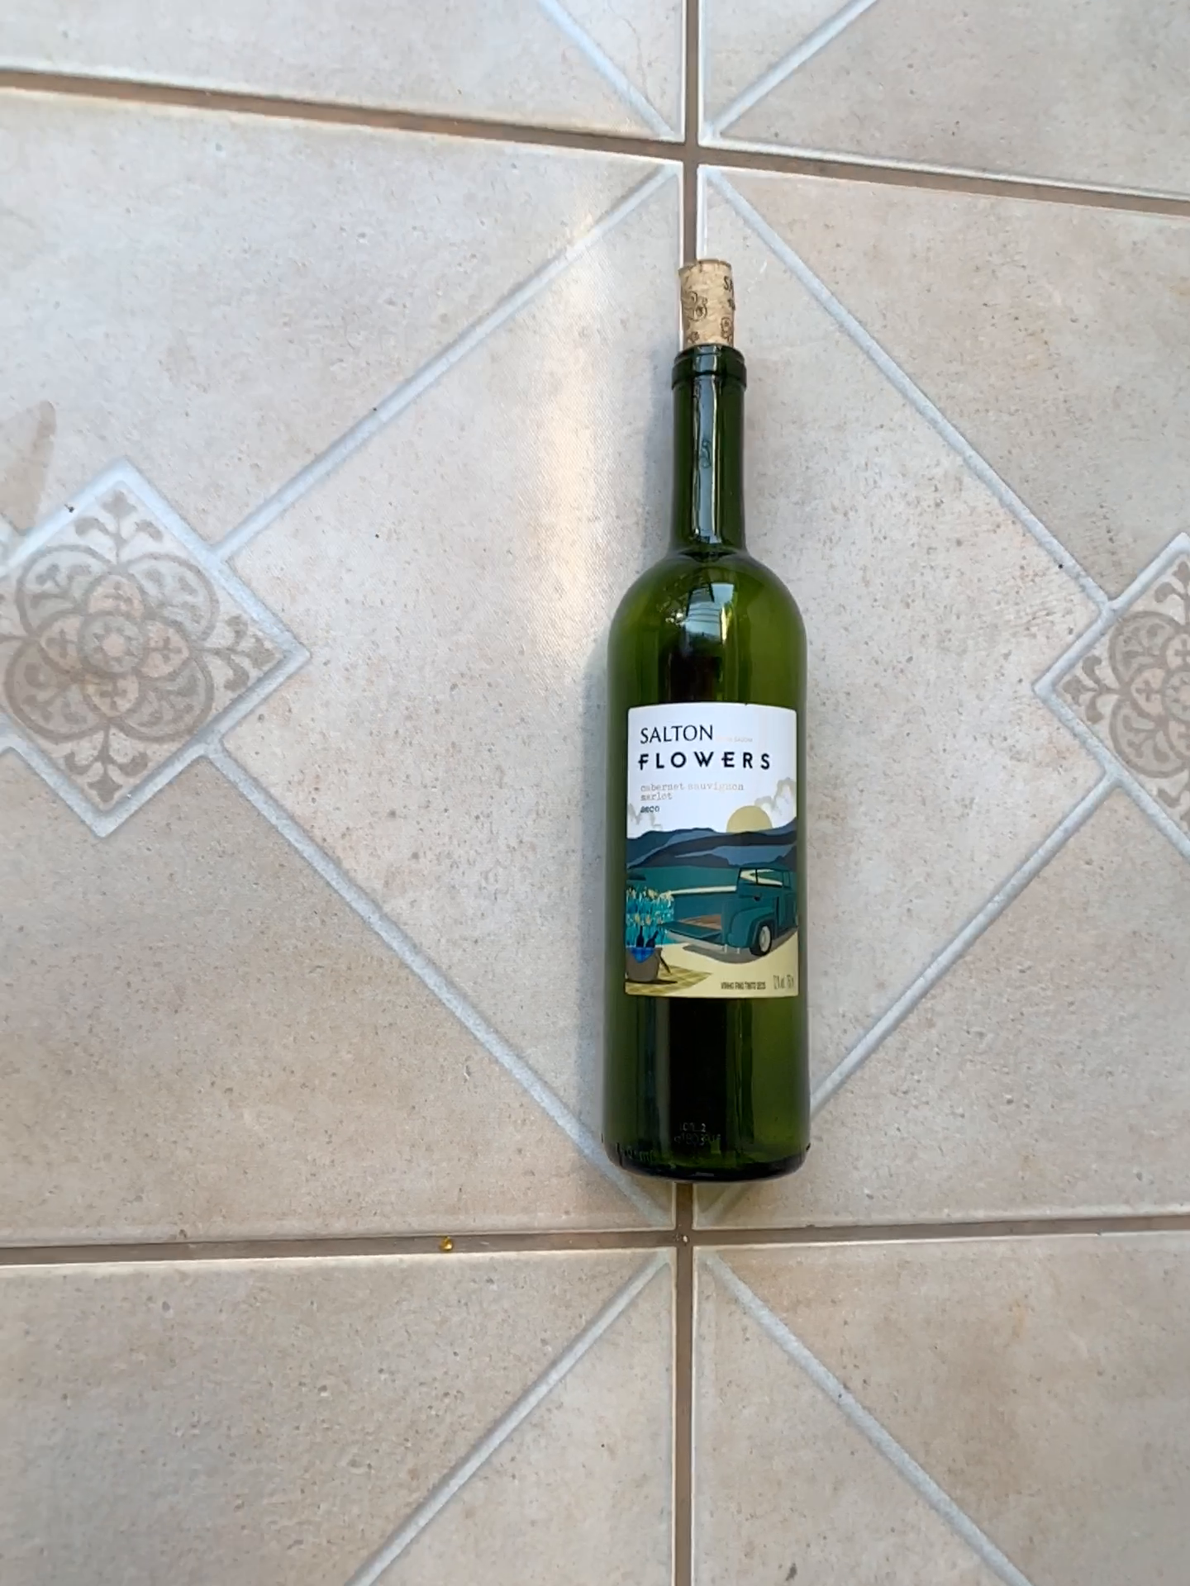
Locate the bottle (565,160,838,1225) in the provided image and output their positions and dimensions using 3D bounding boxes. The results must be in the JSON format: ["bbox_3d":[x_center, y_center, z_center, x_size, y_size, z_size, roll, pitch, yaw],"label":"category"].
[{"bbox_3d":[0.033,-0.036,0.439,0.080,0.080,0.350,-1,86,-1],"label":"bottle"}]
